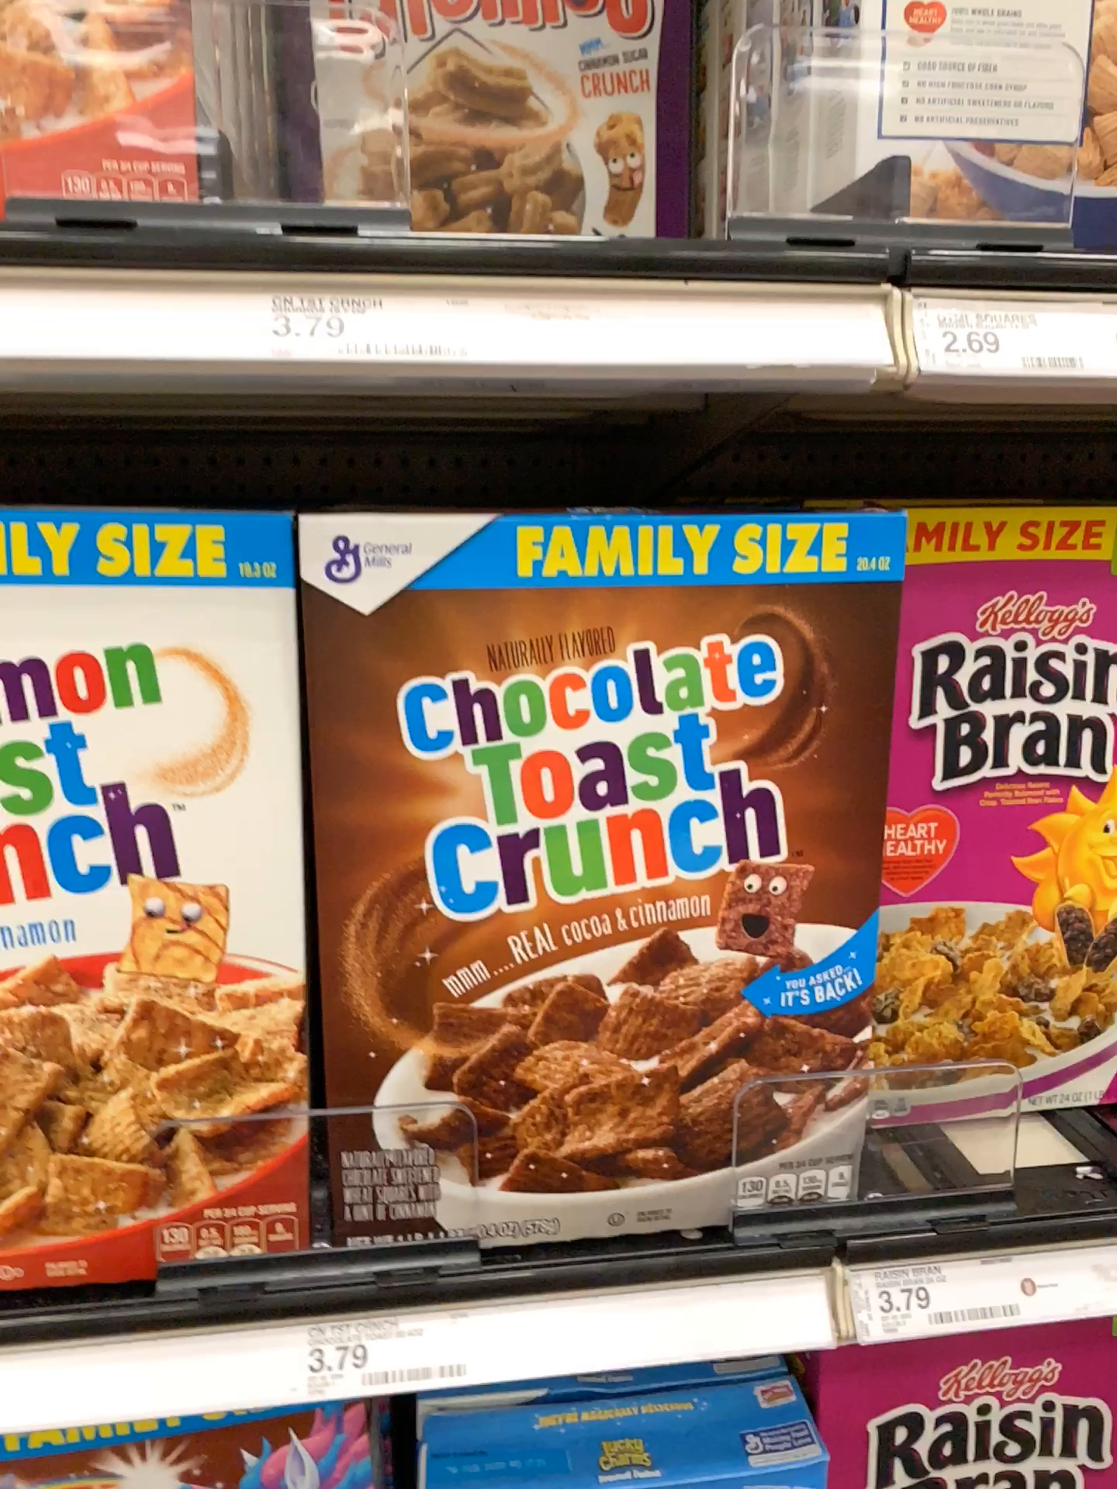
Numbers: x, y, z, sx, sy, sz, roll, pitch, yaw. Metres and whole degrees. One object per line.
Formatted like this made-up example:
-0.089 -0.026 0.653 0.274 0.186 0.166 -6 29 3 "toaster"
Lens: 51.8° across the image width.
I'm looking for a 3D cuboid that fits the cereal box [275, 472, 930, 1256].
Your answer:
0.017 0.046 0.479 0.240 0.309 0.060 -2 13 -8 "cereal box"
